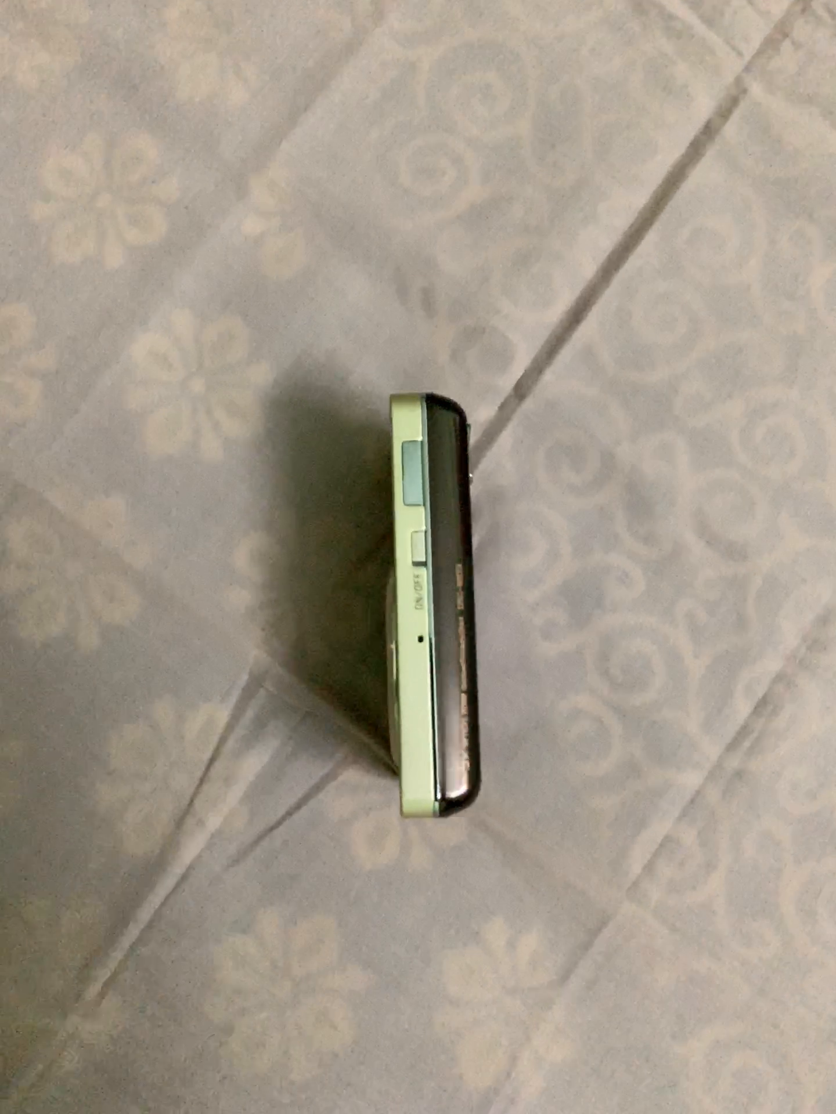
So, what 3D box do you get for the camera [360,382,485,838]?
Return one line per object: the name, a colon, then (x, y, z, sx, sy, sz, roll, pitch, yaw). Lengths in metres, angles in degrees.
camera: (0.000, 0.013, 0.198, 0.021, 0.060, 0.088, -2, 83, -2)
